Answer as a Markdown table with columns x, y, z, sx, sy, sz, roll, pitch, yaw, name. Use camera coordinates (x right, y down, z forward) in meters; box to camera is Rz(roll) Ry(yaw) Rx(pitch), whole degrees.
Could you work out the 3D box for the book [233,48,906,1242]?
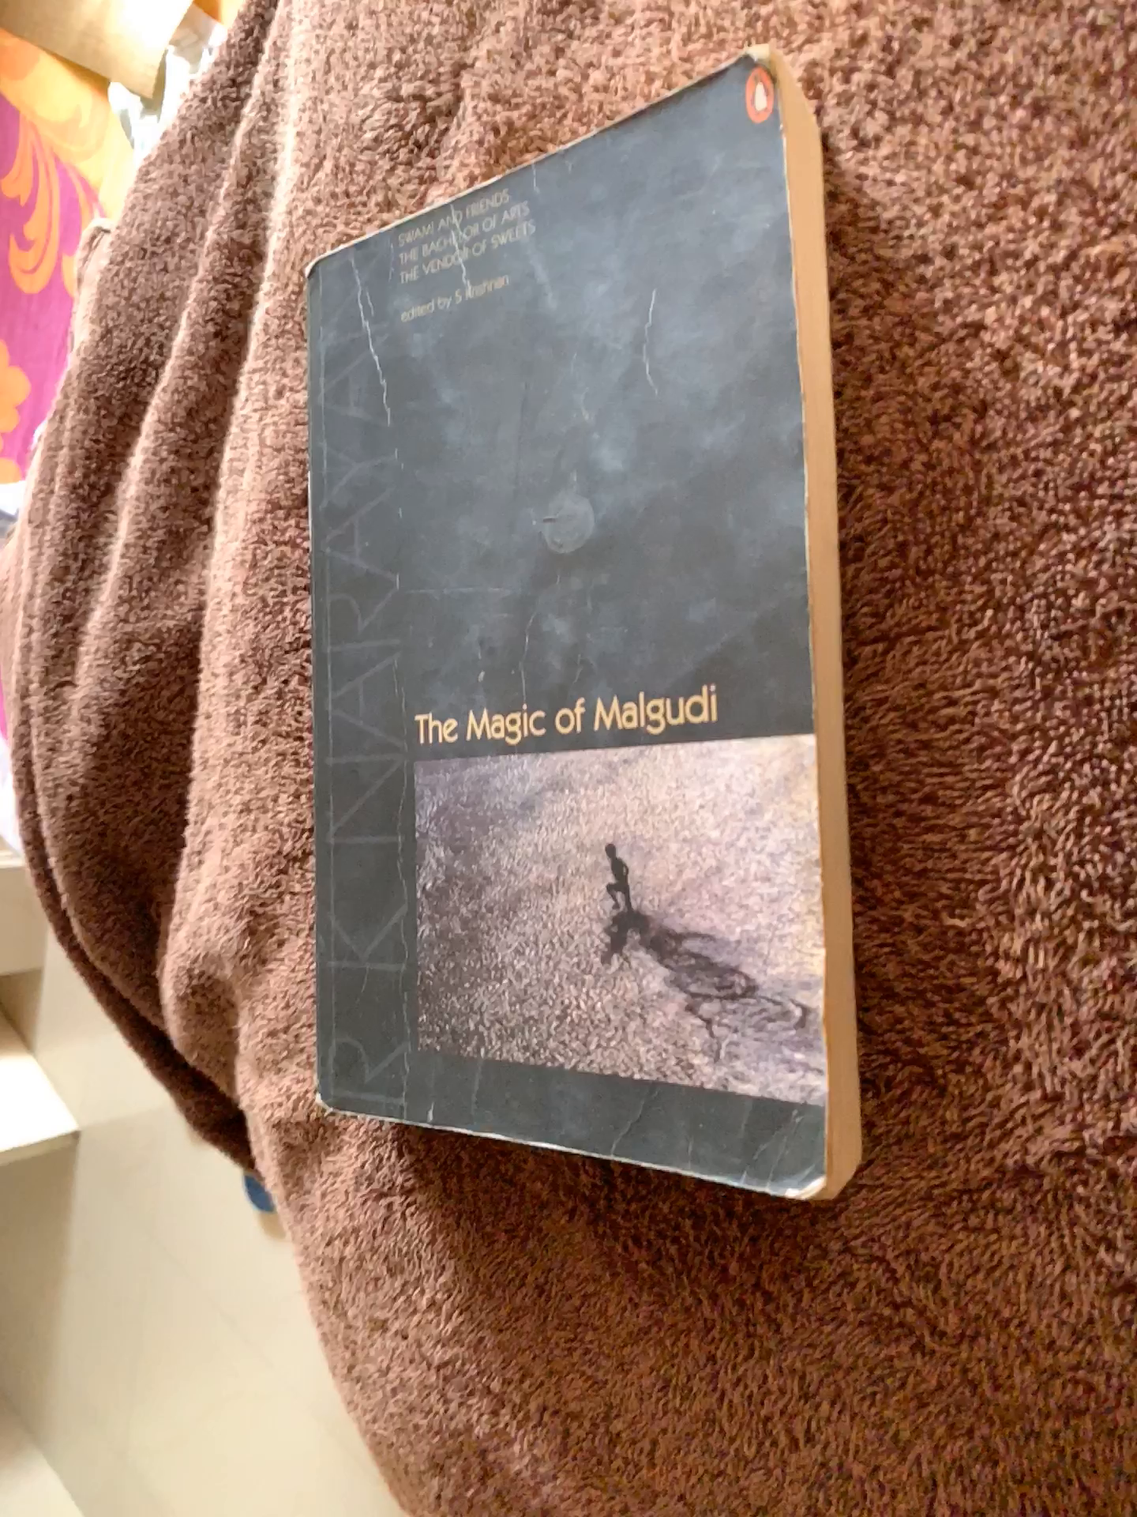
| x | y | z | sx | sy | sz | roll | pitch | yaw | name |
| --- | --- | --- | --- | --- | --- | --- | --- | --- | --- |
| -0.010 | -0.017 | 0.242 | 0.142 | 0.030 | 0.193 | -4 | 86 | 35 | book |
